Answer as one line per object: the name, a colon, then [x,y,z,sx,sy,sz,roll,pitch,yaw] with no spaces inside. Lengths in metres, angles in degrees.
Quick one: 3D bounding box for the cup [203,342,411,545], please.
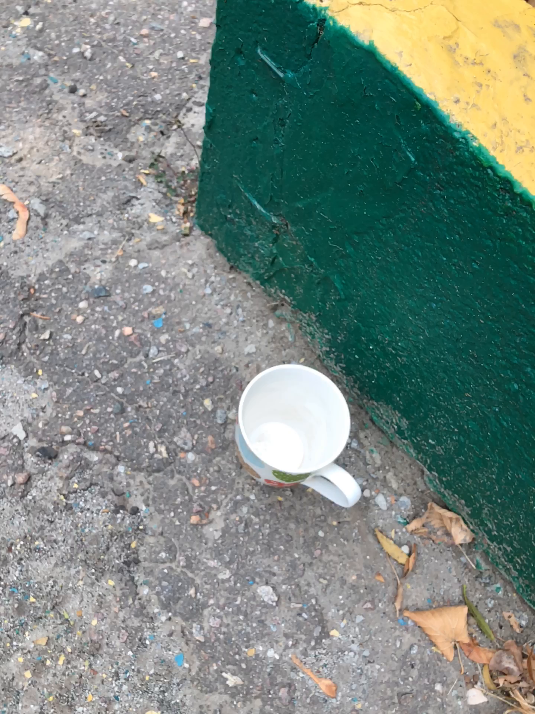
cup: [0.026,0.067,0.448,0.116,0.079,0.082,37,65,5]
